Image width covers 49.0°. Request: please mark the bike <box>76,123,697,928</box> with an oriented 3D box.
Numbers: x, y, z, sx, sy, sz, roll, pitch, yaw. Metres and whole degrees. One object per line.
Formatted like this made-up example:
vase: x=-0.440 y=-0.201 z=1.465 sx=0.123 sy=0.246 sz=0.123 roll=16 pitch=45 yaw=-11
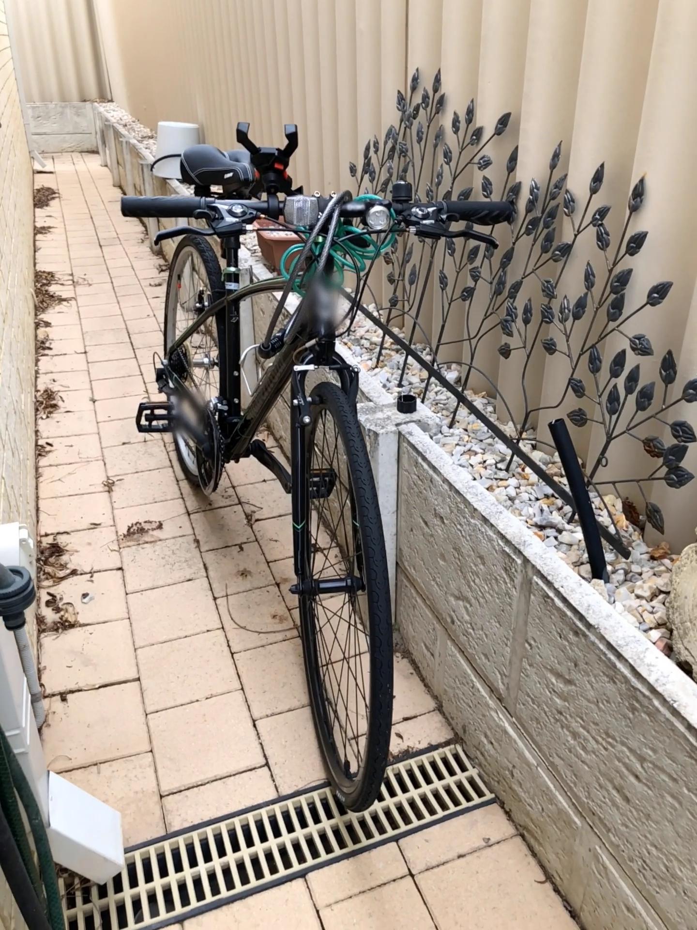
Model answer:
bike: x=-0.136 y=-0.187 z=1.633 sx=0.638 sy=0.859 sz=1.705 roll=-9 pitch=30 yaw=-18
